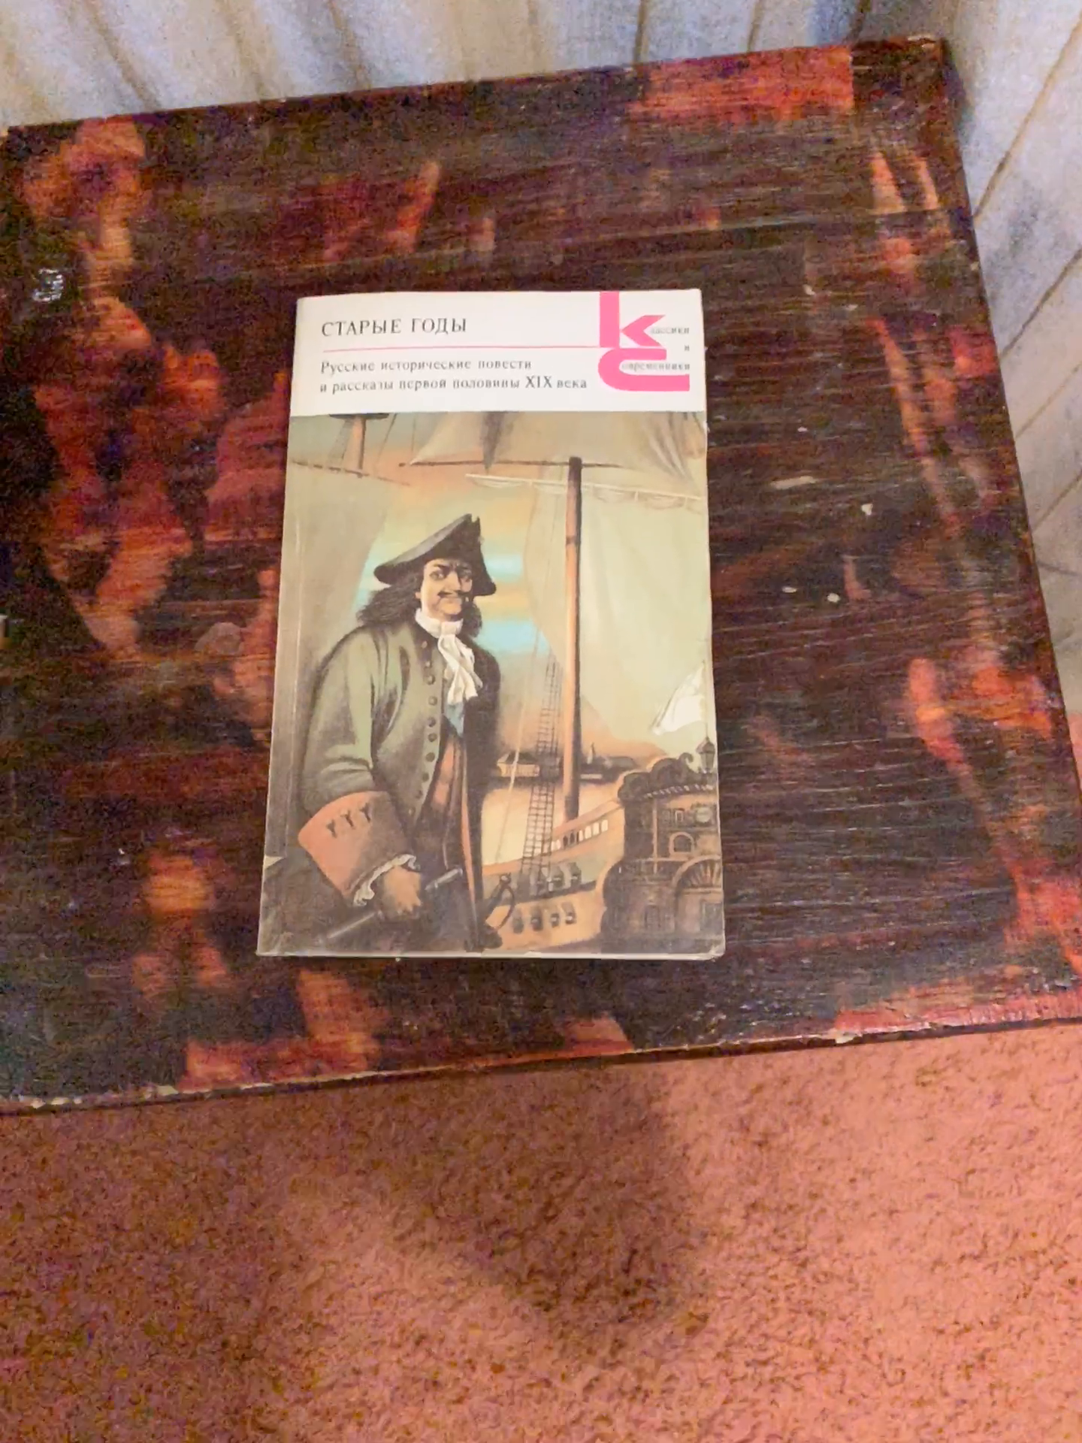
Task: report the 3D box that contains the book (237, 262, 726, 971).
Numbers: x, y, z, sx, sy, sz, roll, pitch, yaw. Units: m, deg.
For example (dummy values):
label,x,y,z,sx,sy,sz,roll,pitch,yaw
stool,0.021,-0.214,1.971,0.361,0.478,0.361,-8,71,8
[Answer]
label,x,y,z,sx,sy,sz,roll,pitch,yaw
book,-0.015,-0.031,0.314,0.123,0.026,0.198,0,78,3
